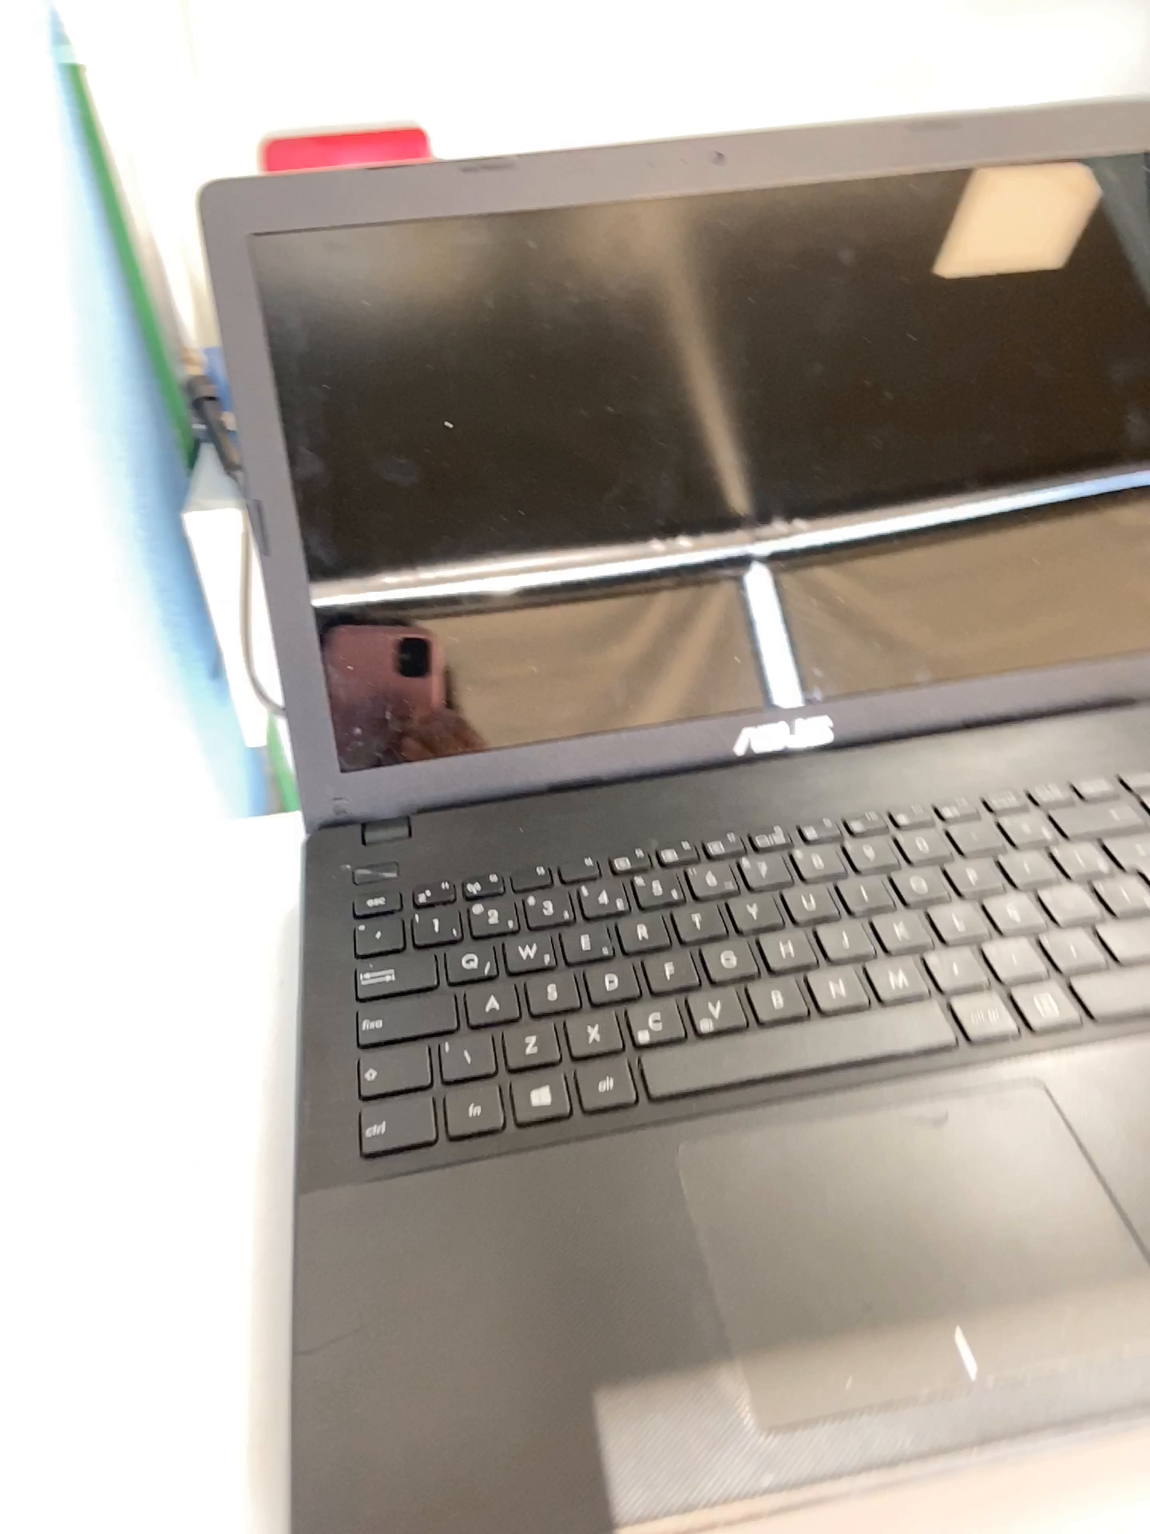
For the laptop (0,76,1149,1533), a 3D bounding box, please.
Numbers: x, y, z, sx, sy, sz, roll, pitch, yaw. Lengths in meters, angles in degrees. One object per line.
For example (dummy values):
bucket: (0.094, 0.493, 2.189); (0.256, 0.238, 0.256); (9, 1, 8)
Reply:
laptop: (0.090, -0.049, 0.346); (0.367, 0.201, 0.363); (-9, 36, -5)
